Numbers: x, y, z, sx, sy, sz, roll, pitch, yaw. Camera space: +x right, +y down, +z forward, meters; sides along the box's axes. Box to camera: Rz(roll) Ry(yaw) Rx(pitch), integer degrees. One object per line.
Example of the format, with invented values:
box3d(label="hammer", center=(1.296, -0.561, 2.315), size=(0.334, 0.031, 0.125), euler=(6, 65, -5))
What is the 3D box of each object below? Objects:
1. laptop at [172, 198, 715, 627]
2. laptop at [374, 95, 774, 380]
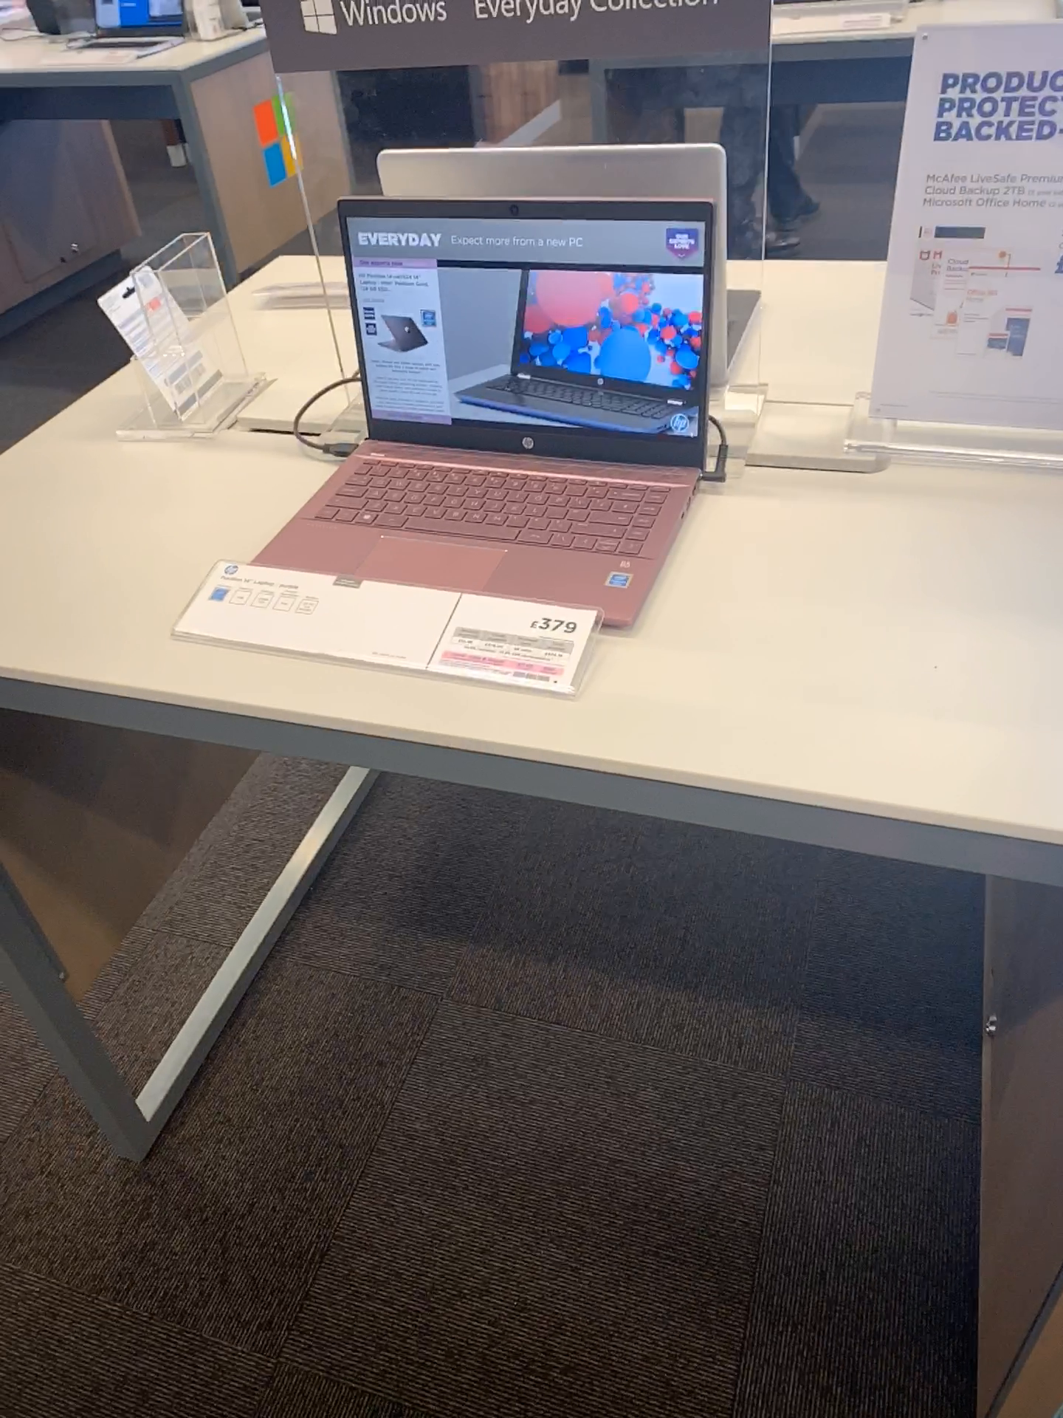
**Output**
box3d(label="laptop", center=(-0.044, -0.240, 0.827), size=(0.312, 0.200, 0.251), euler=(10, 43, 18))
box3d(label="laptop", center=(0.055, -0.474, 1.077), size=(0.324, 0.186, 0.245), euler=(8, 41, 17))
